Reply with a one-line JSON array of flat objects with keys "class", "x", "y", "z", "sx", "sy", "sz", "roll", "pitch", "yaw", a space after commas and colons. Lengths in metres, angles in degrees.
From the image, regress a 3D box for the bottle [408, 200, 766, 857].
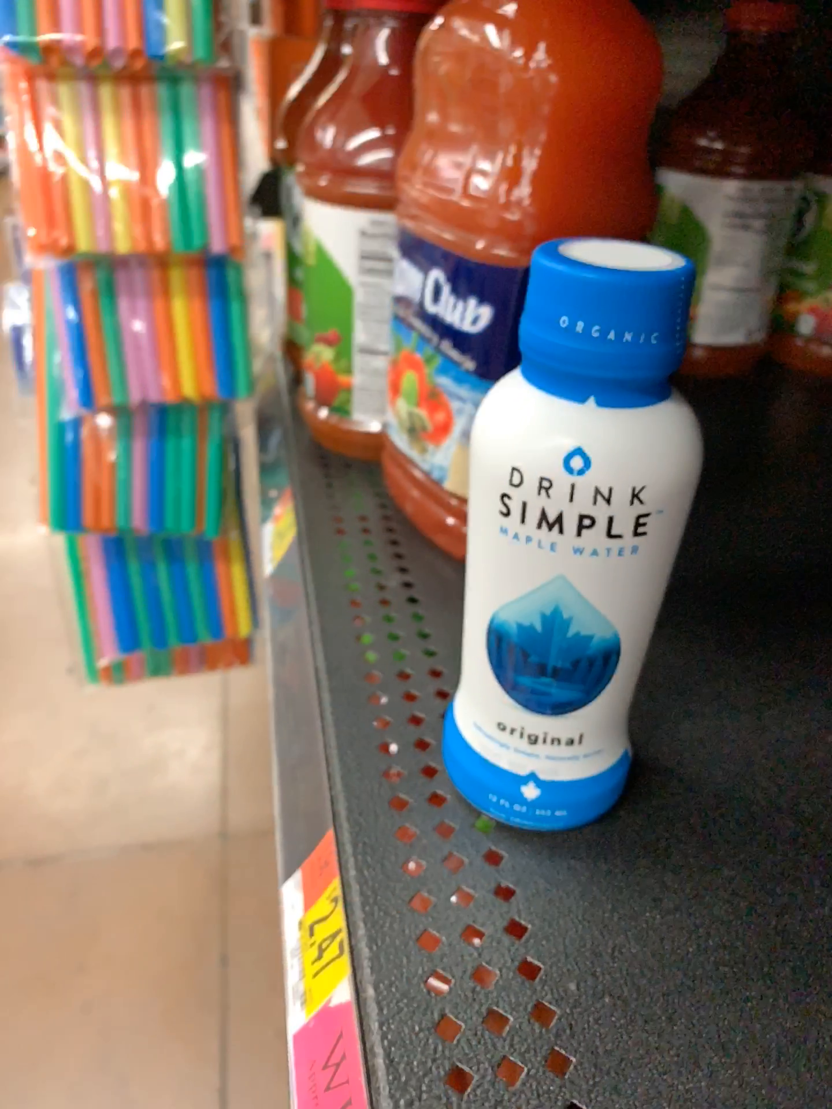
[{"class": "bottle", "x": 0.042, "y": -0.004, "z": 0.252, "sx": 0.070, "sy": 0.169, "sz": 0.066, "roll": 1, "pitch": 31, "yaw": -1}]
